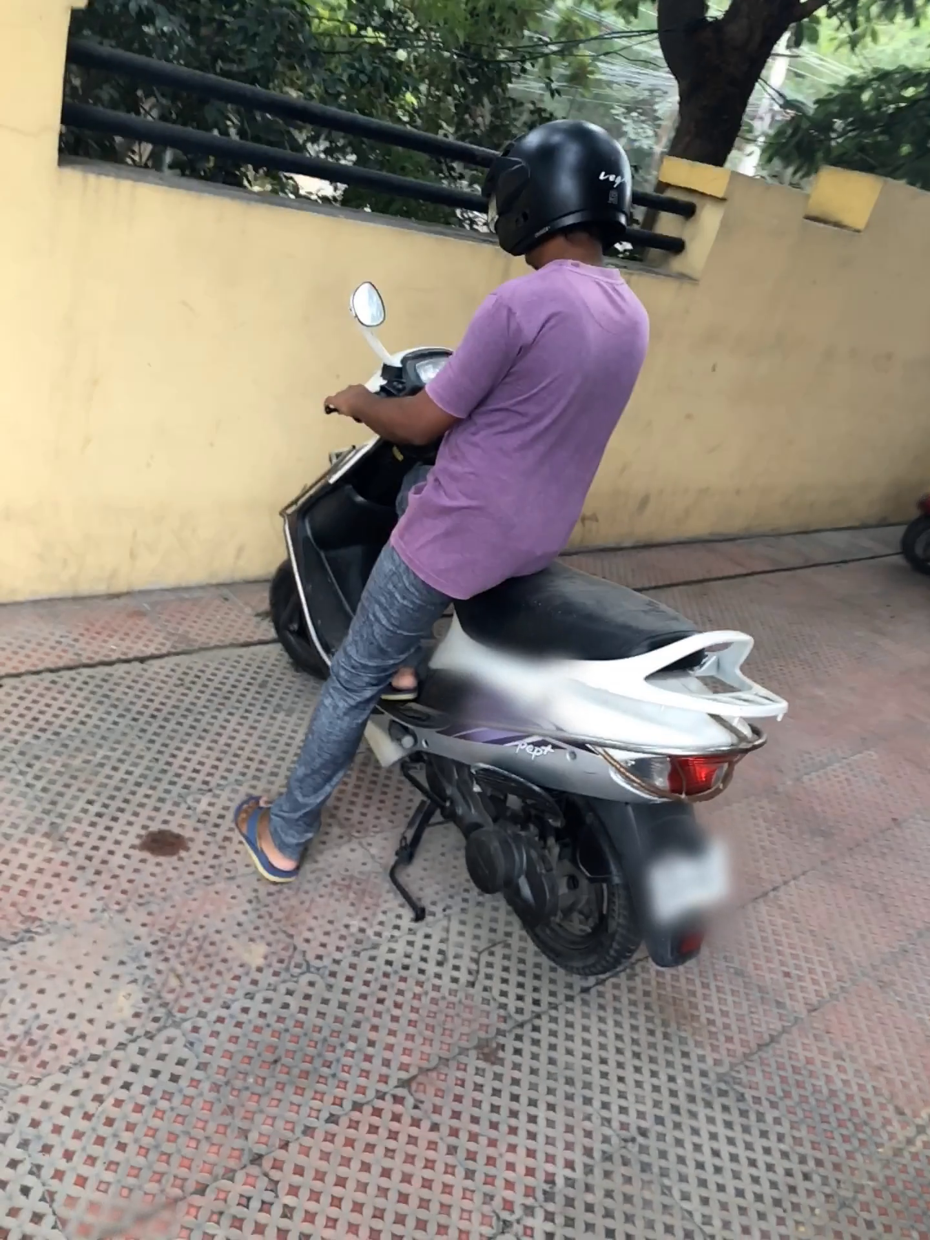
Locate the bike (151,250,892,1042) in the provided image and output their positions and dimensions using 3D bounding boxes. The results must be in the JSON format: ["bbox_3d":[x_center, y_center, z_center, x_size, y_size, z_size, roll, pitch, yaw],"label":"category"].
[{"bbox_3d":[-0.039,-0.066,2.325,0.645,0.949,1.504,-7,36,-40],"label":"bike"}]
